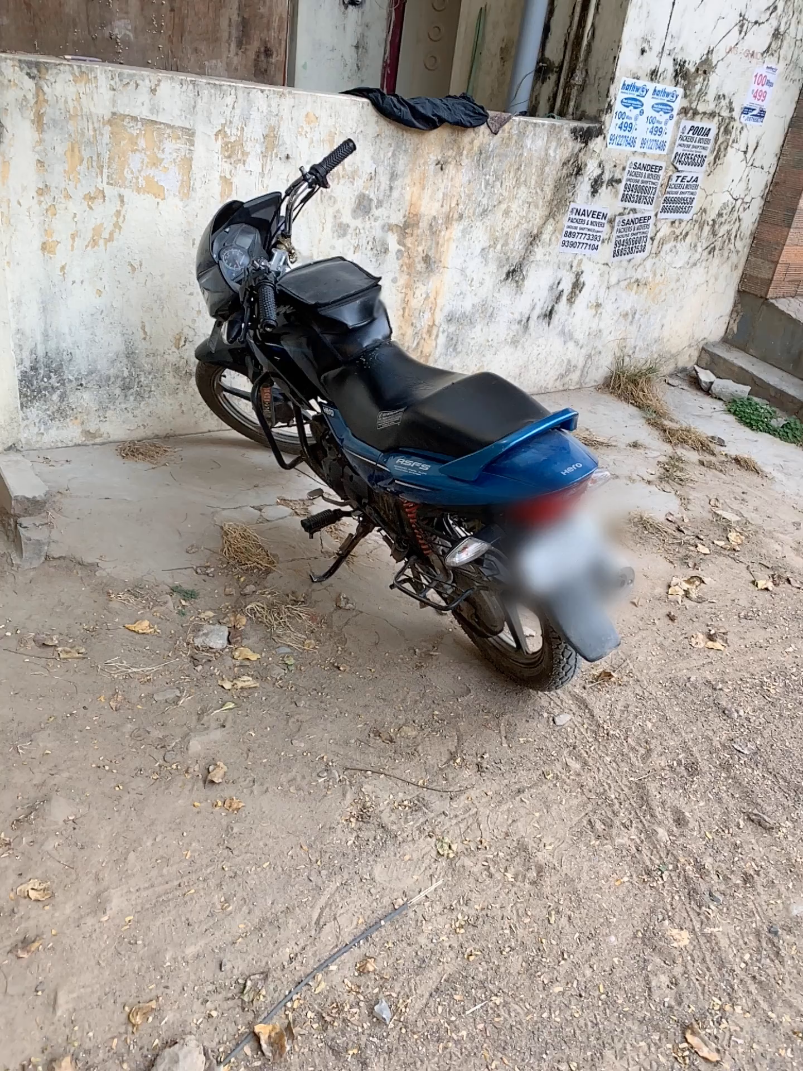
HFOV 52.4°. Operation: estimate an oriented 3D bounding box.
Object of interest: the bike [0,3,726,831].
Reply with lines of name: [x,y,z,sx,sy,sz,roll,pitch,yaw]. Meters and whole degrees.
bike: [-0.337,-0.431,2.099,0.756,1.234,1.707,-17,41,-39]
